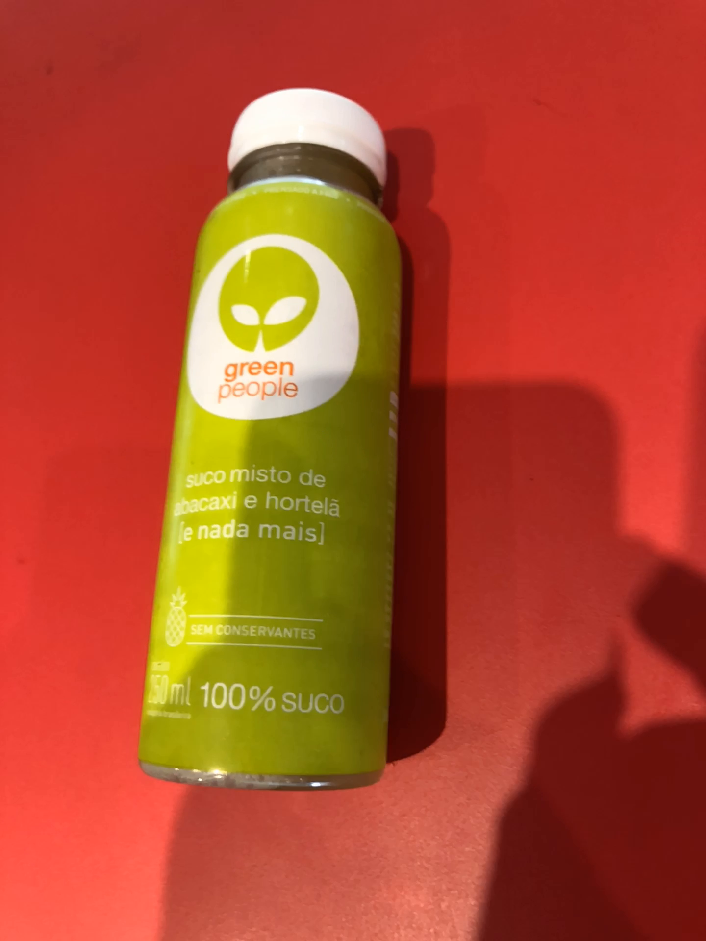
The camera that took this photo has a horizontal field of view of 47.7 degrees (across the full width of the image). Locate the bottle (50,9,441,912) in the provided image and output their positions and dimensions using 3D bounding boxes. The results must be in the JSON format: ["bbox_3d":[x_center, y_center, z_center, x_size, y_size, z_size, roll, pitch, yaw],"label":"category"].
[{"bbox_3d":[-0.016,-0.006,0.178,0.060,0.050,0.170,1,80,13],"label":"bottle"}]
